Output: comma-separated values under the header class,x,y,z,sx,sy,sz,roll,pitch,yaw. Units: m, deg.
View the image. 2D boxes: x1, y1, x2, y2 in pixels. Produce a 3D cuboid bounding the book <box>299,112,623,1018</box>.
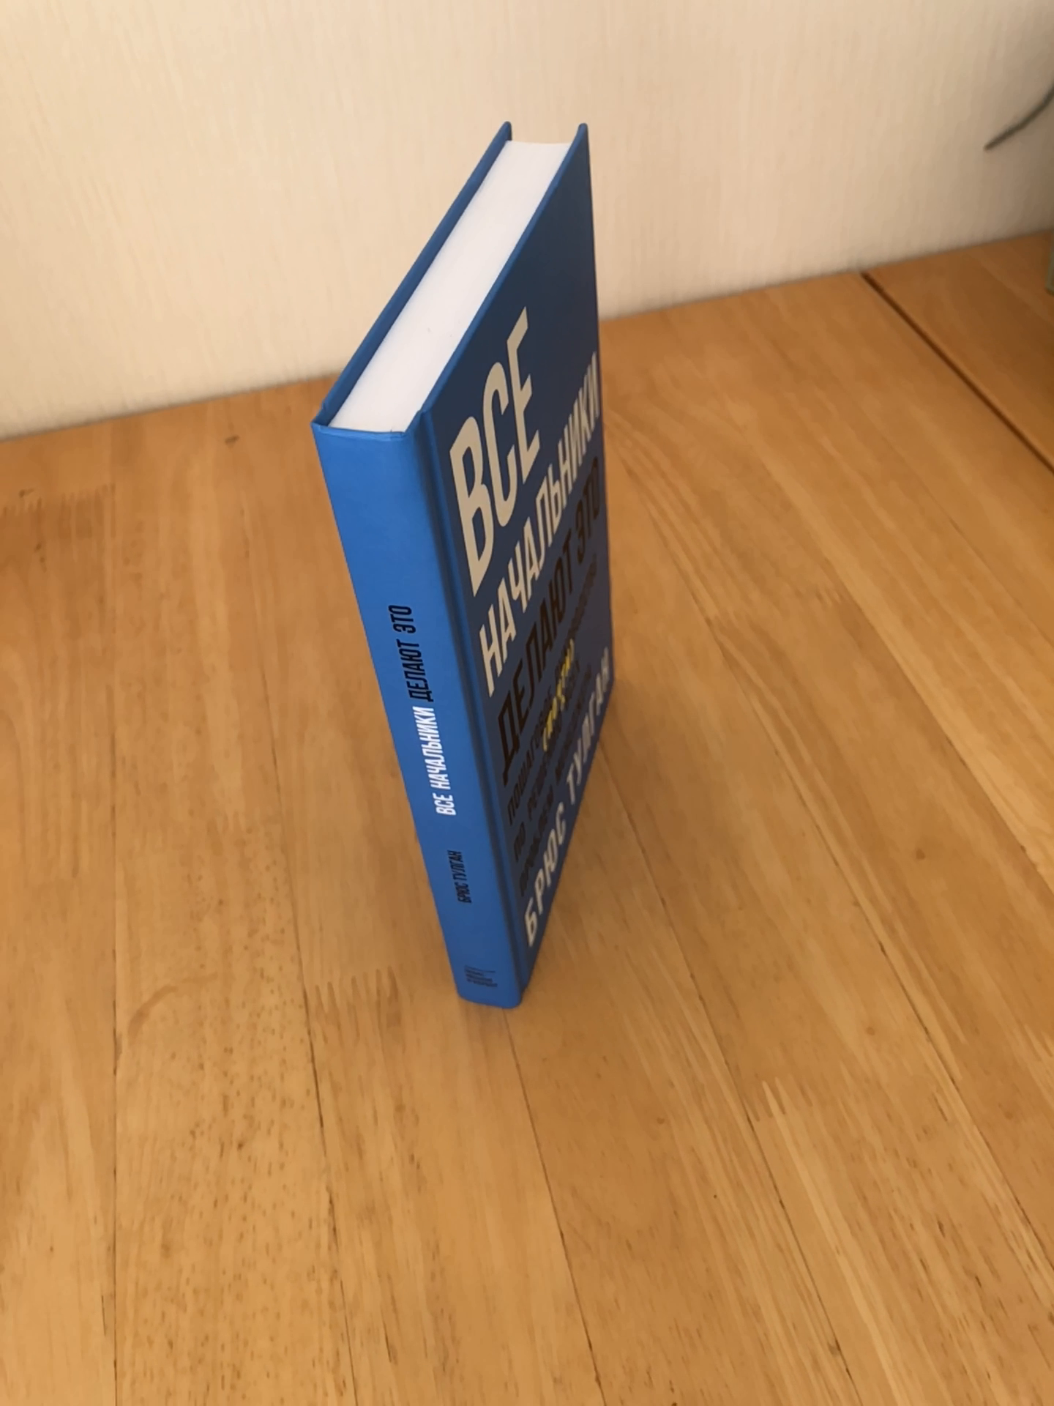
class,x,y,z,sx,sy,sz,roll,pitch,yaw
book,-0.002,-0.031,0.337,0.025,0.207,0.150,7,48,13
